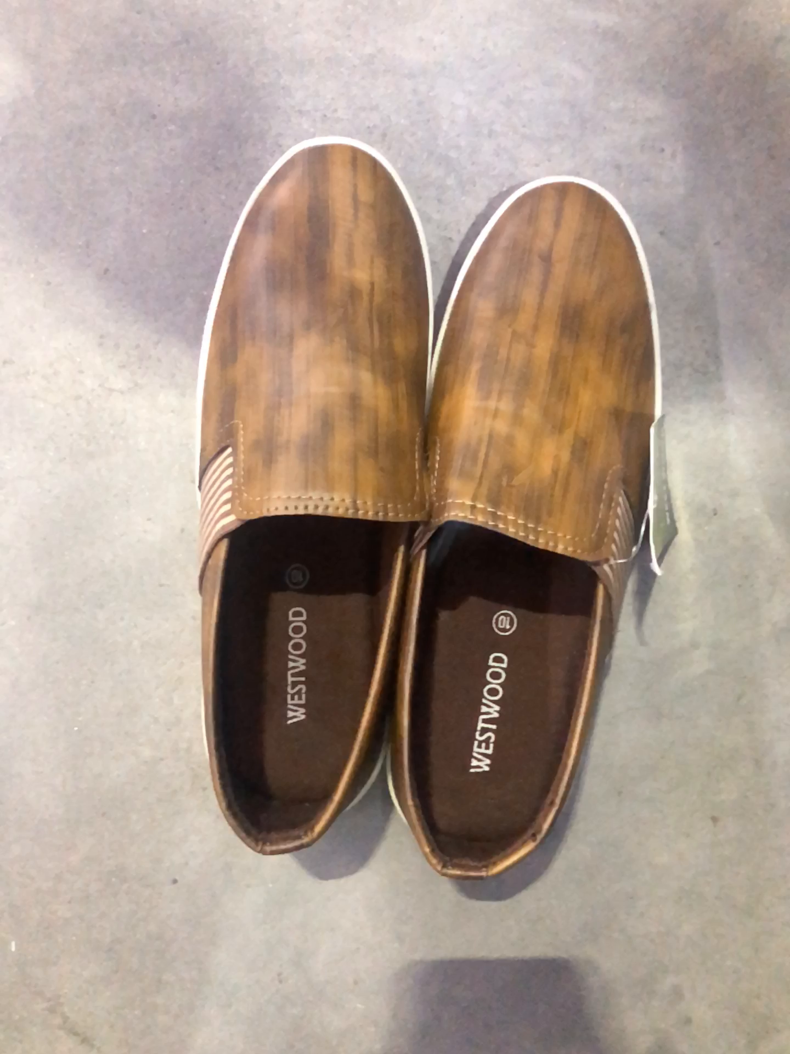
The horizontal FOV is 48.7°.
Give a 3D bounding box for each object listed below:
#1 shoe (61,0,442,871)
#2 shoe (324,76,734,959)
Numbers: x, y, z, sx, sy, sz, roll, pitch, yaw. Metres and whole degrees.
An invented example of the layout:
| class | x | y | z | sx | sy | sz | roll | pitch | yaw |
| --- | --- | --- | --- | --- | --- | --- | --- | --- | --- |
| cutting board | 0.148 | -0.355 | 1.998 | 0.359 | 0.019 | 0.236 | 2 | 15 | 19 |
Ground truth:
| class | x | y | z | sx | sy | sz | roll | pitch | yaw |
| --- | --- | --- | --- | --- | --- | --- | --- | --- | --- |
| shoe | -0.041 | -0.036 | 0.334 | 0.110 | 0.100 | 0.290 | 1 | 83 | 3 |
| shoe | 0.054 | -0.008 | 0.366 | 0.110 | 0.100 | 0.310 | 8 | 84 | 4 |
